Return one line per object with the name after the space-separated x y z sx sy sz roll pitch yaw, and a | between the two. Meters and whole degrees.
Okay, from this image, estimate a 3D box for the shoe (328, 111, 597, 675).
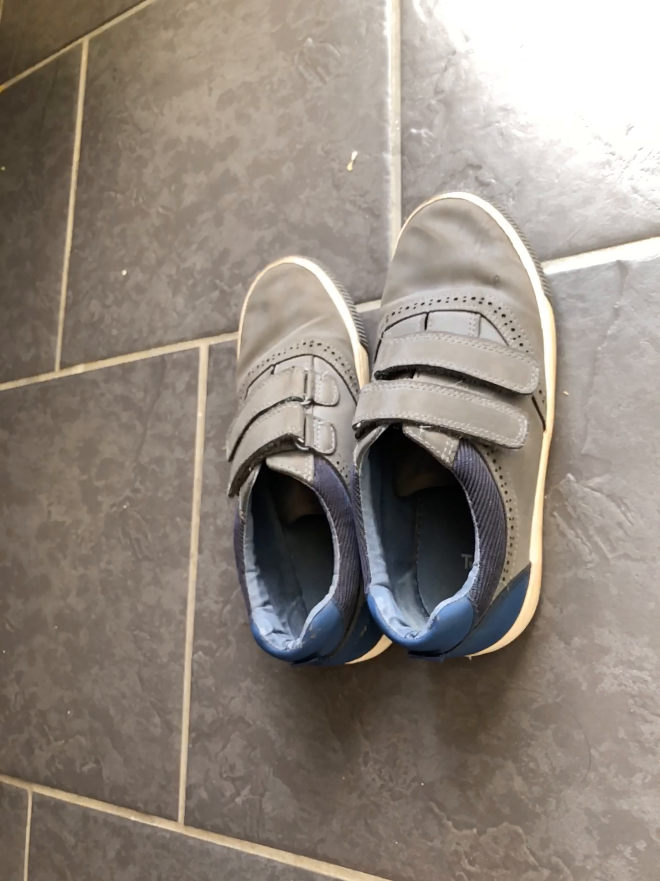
0.062 -0.018 0.370 0.100 0.070 0.250 -9 76 33 | shoe

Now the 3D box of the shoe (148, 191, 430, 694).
-0.030 0.002 0.416 0.100 0.070 0.251 -21 69 30 | shoe
